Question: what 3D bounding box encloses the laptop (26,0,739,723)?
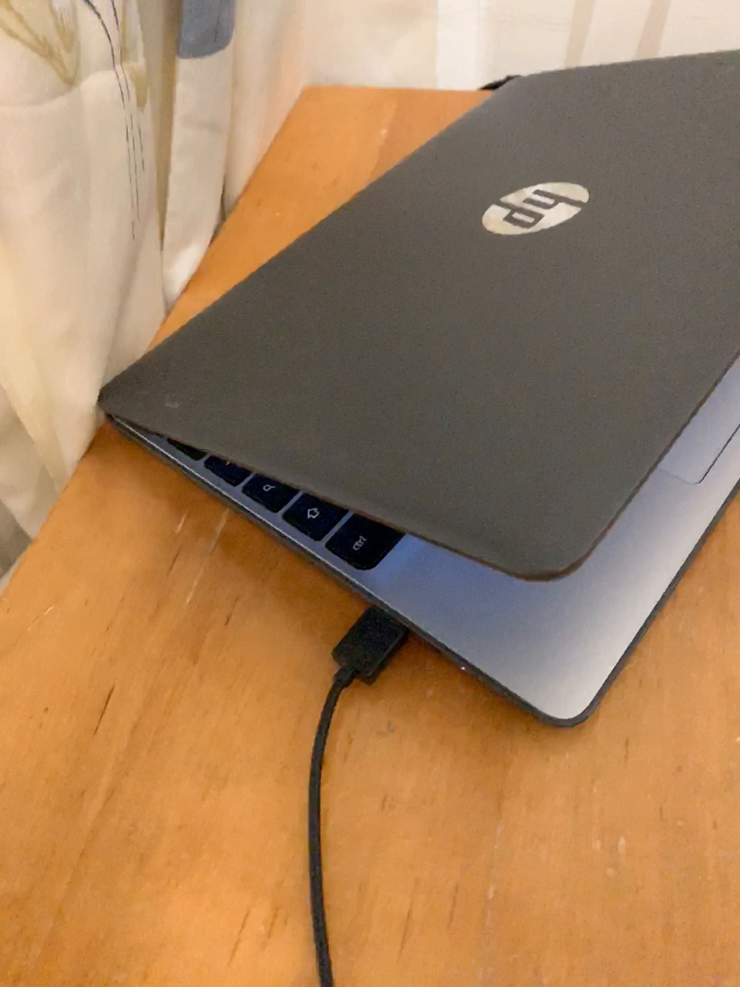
[{"bbox_3d":[0.060,-0.093,0.269,0.191,0.066,0.269,30,60,26],"label":"laptop"}]
